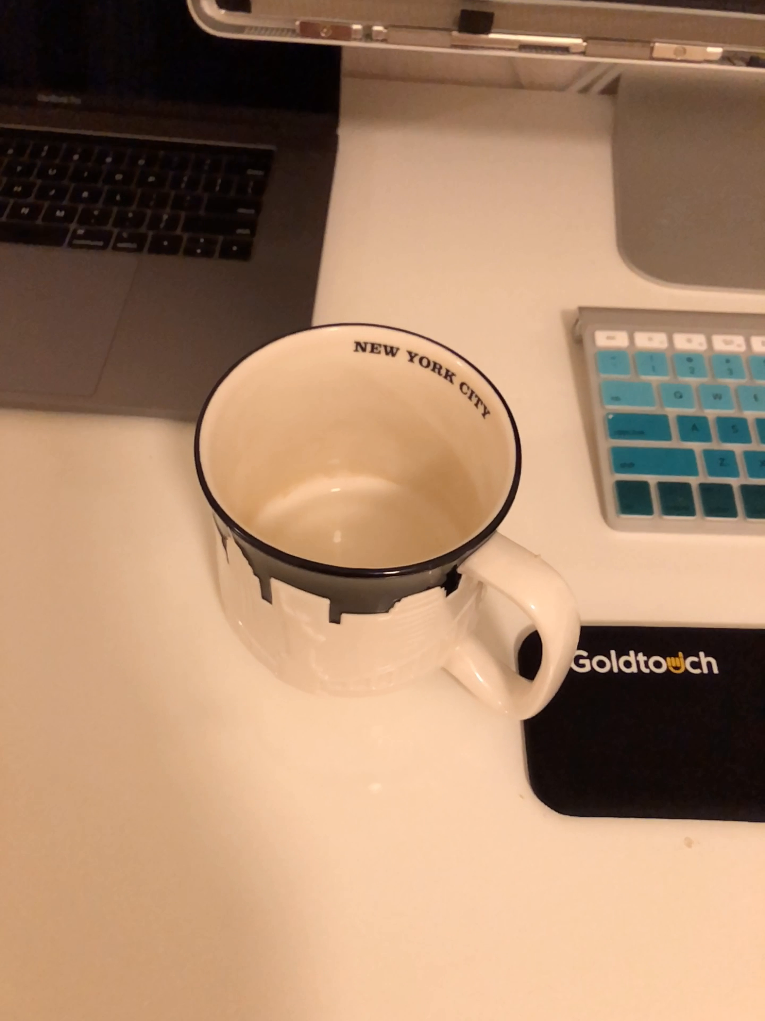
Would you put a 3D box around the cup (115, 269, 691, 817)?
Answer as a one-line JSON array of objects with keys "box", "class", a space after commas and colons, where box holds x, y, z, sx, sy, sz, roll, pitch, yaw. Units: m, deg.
[{"box": [0.007, 0.008, 0.296, 0.140, 0.090, 0.110, 28, 58, 14], "class": "cup"}]
